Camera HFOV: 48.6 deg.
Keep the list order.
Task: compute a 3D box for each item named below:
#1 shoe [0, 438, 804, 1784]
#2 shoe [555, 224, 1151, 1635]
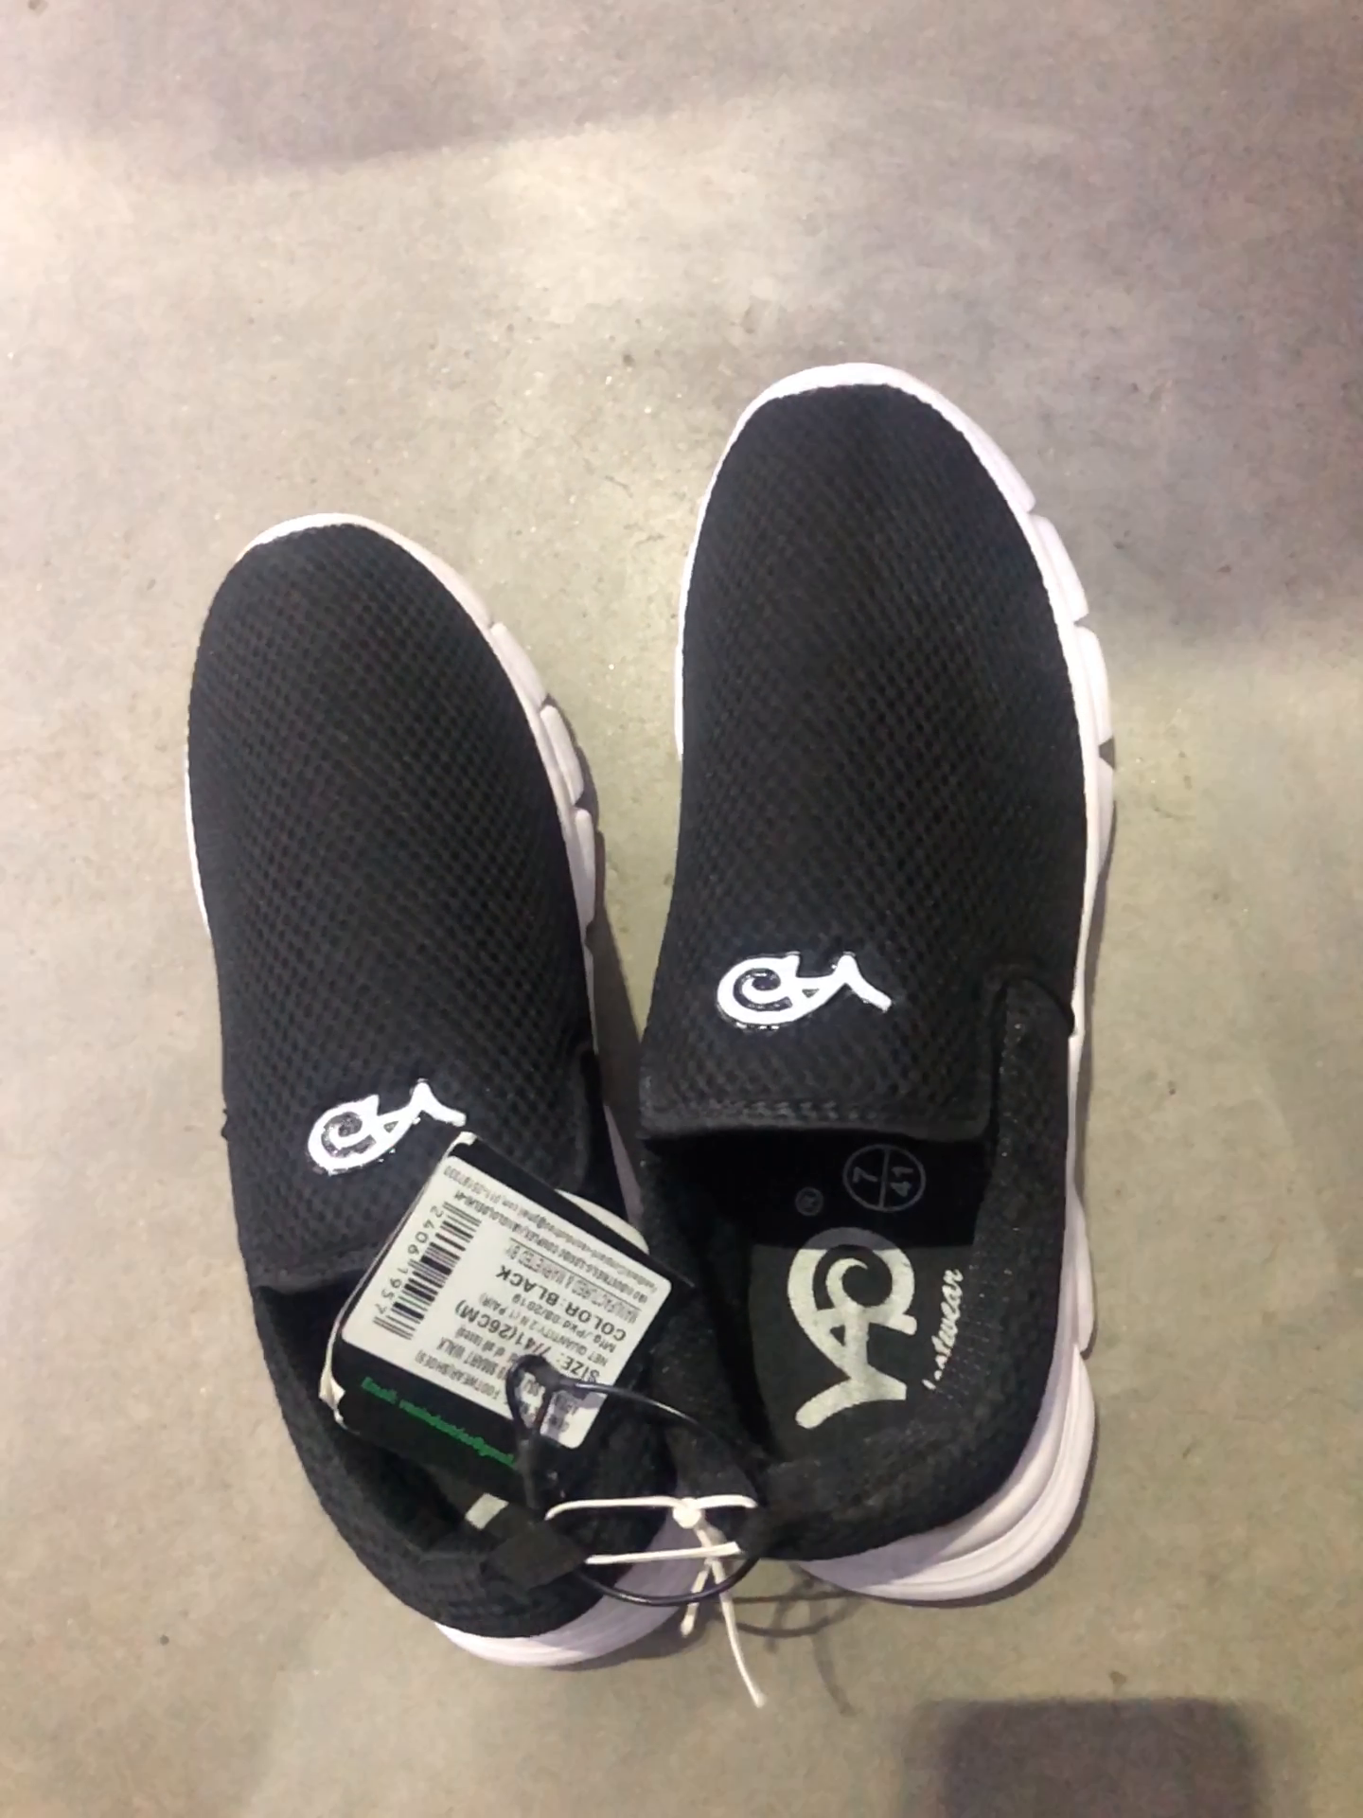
[{"bbox_3d":[-0.065,0.042,0.366,0.110,0.100,0.260,-18,79,8],"label":"shoe"},{"bbox_3d":[0.042,0.004,0.351,0.110,0.100,0.270,-3,81,19],"label":"shoe"}]
